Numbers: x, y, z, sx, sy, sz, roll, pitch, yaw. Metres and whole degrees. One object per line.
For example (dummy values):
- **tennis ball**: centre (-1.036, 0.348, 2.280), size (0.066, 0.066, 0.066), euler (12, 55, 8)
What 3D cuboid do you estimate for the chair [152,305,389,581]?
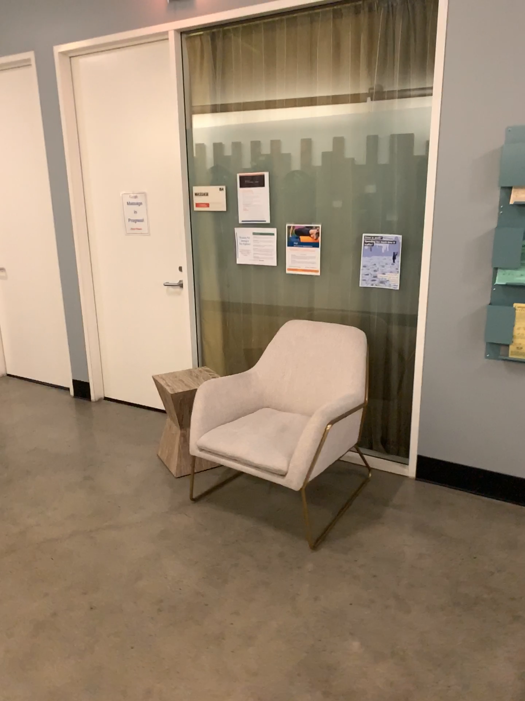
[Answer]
- **chair**: centre (0.079, 0.346, 2.649), size (0.782, 0.926, 0.871), euler (9, 19, 31)
